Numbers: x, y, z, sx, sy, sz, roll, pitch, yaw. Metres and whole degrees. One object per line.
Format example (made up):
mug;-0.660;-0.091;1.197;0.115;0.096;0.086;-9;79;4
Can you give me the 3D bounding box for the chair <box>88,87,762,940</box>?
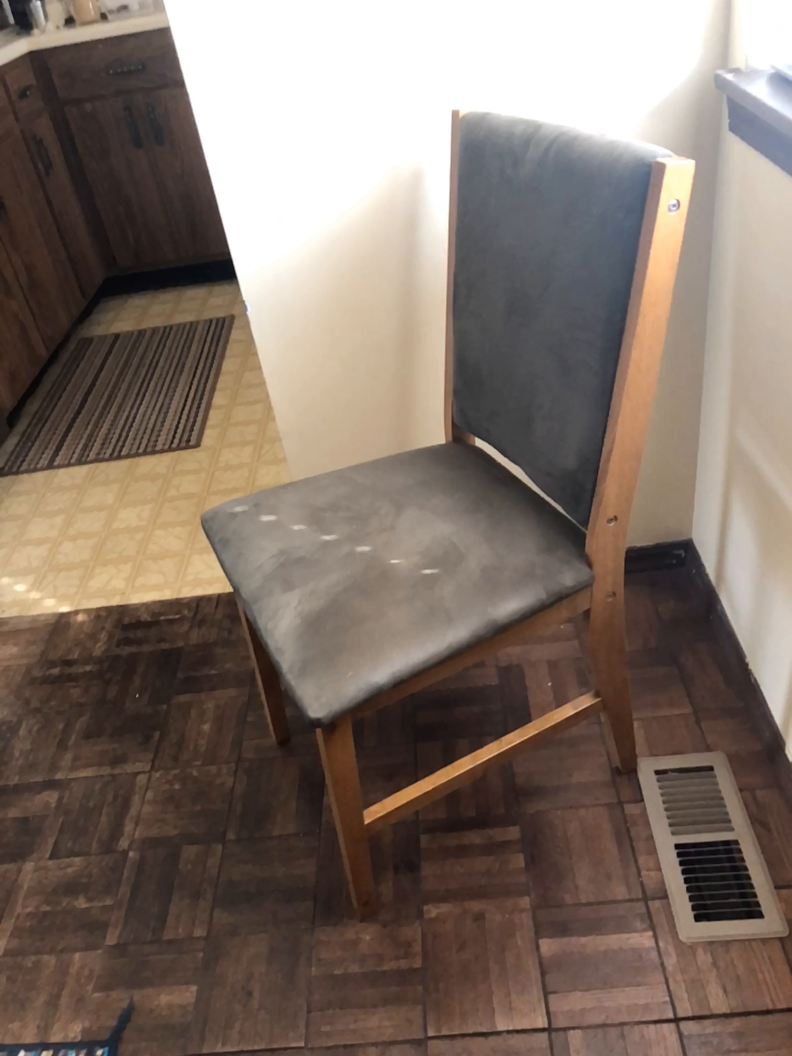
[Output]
chair;0.024;-0.028;1.119;0.510;0.858;0.491;-19;37;-18
